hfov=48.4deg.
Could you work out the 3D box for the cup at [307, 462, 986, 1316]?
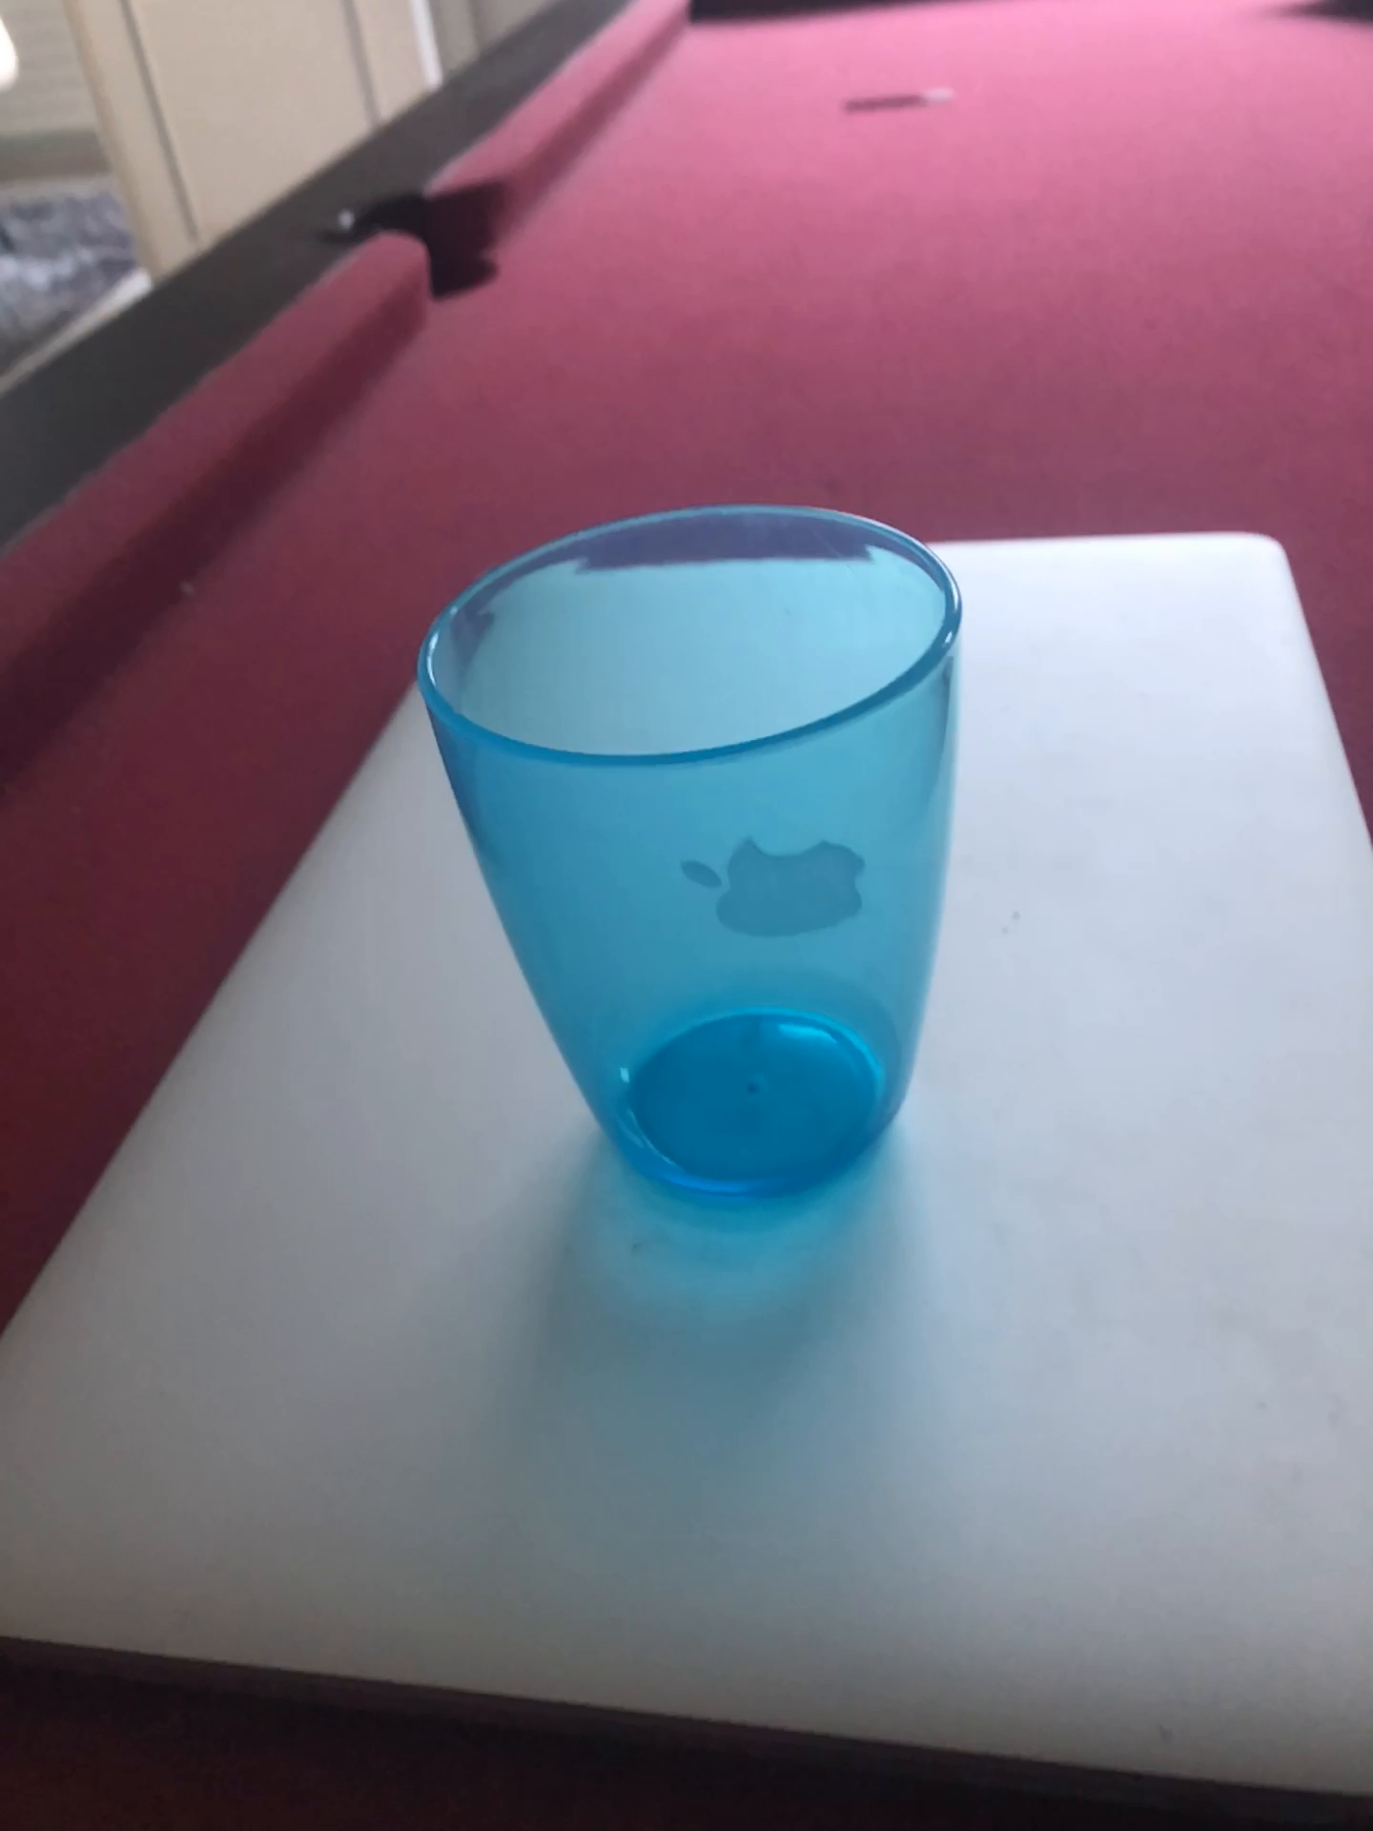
[{"bbox_3d":[0.006,-0.006,0.248,0.080,0.099,0.091,1,37,13],"label":"cup"}]
